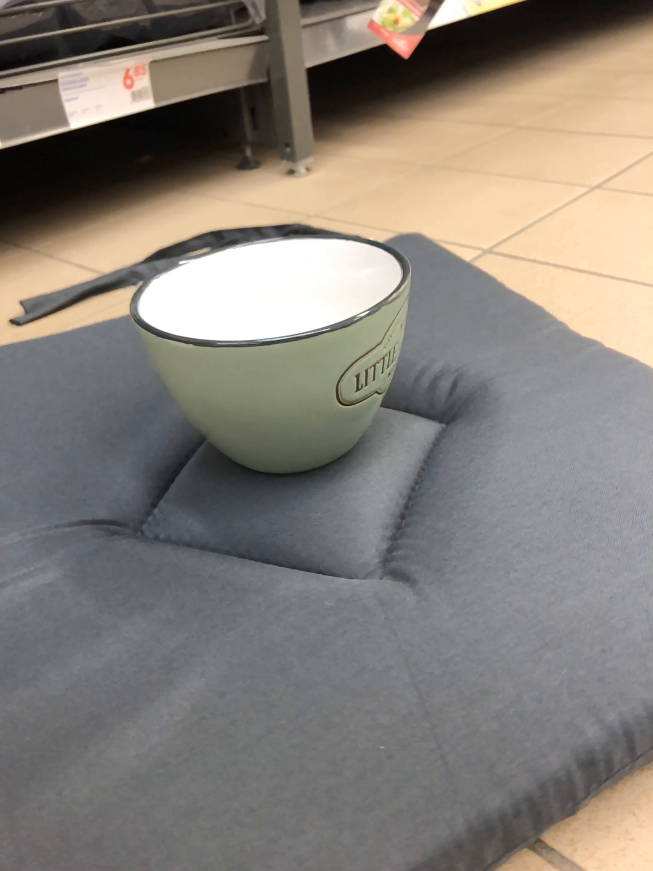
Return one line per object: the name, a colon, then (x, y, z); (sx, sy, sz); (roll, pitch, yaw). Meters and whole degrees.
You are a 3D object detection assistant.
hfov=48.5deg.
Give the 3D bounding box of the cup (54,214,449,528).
cup: (-0.018, -0.040, 0.322); (0.120, 0.070, 0.141); (6, 36, 18)
